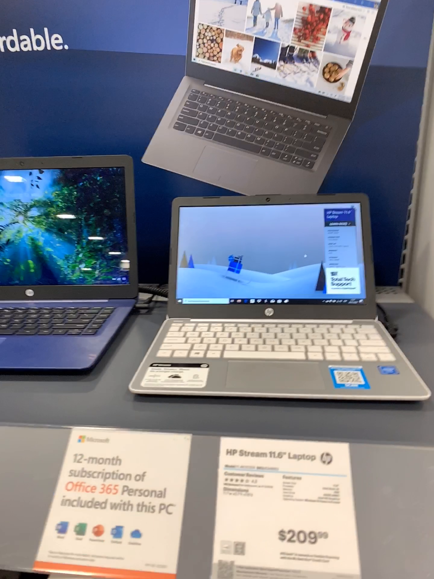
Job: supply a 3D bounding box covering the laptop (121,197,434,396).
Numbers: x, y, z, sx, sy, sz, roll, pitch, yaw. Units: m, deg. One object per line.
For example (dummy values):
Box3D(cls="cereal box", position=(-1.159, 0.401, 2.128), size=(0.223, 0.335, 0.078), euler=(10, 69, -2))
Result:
Box3D(cls="laptop", position=(0.062, -0.018, 0.519), size=(0.266, 0.144, 0.275), euler=(1, 18, 3))
